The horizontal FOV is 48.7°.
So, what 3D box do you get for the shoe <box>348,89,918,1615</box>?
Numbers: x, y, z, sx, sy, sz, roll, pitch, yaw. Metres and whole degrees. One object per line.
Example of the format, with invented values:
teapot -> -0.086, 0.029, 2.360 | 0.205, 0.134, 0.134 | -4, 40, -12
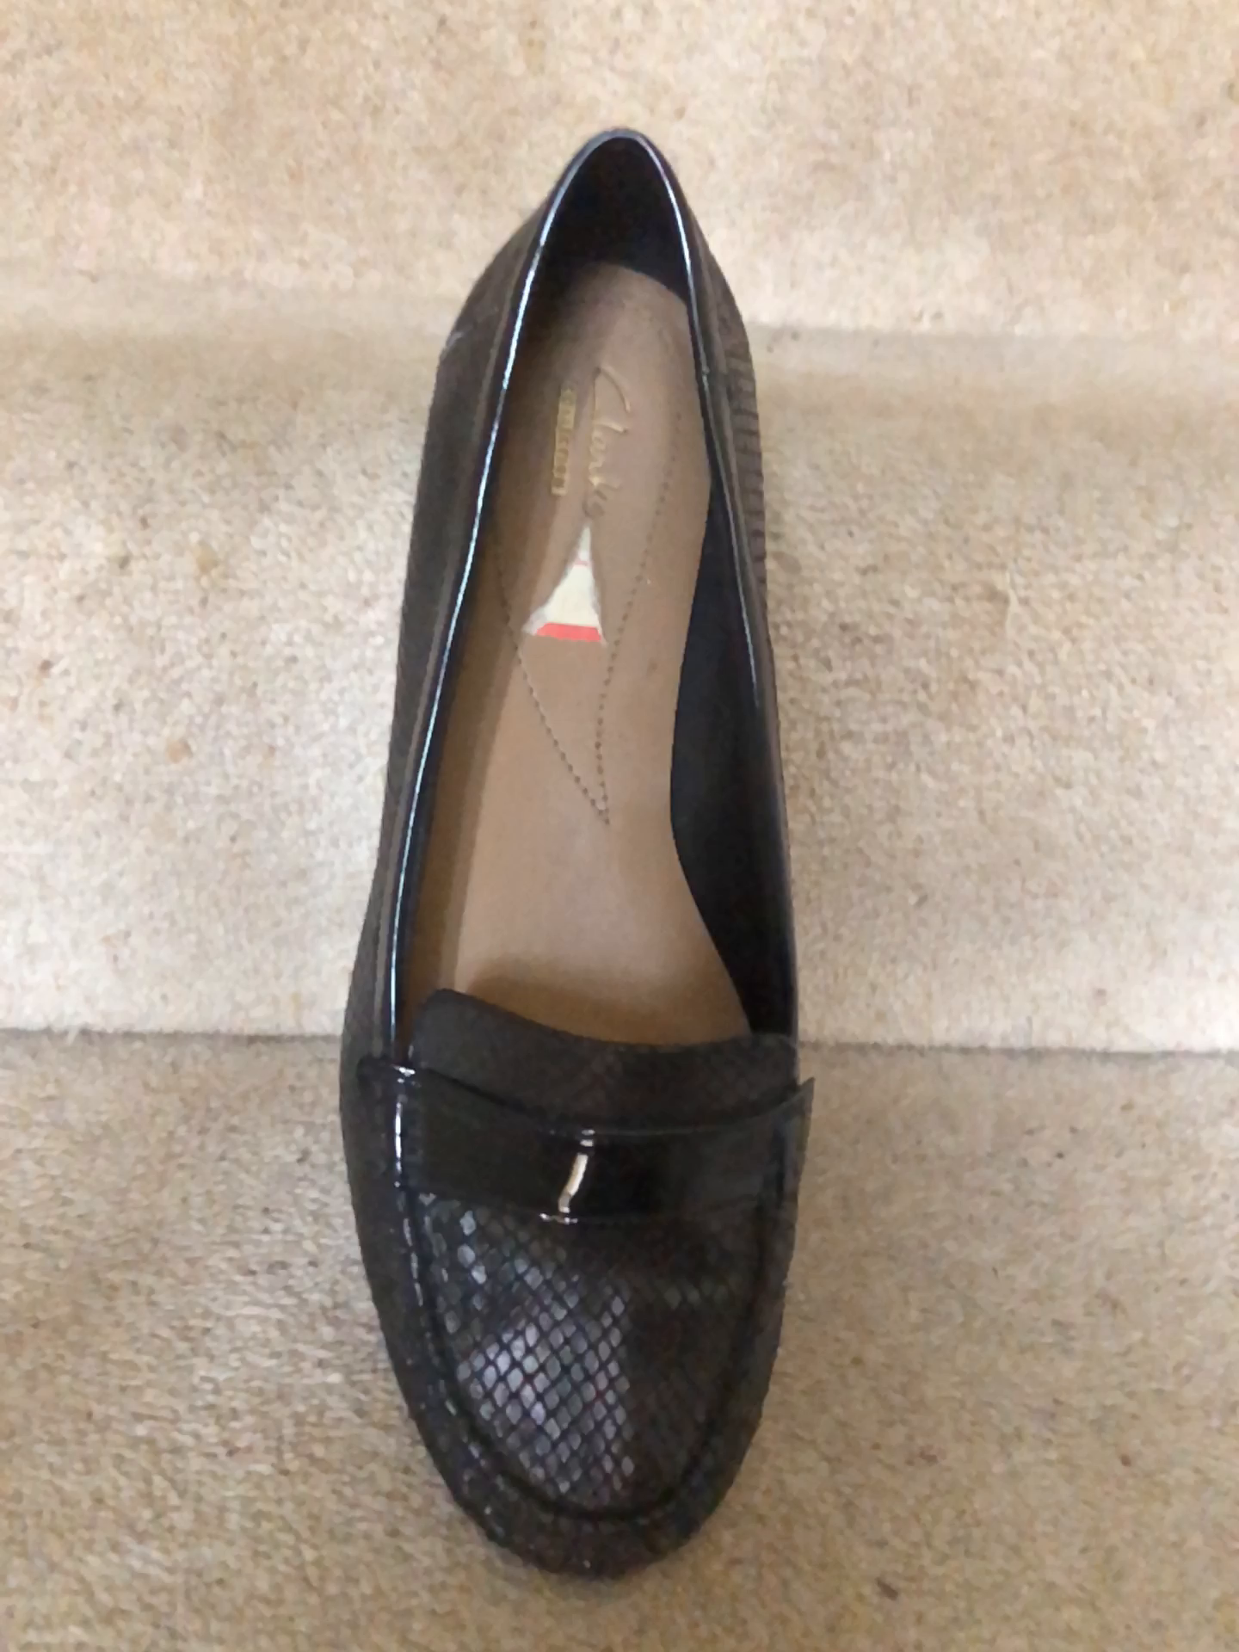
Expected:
shoe -> -0.001, 0.004, 0.275 | 0.090, 0.260, 0.070 | 3, -2, -10
